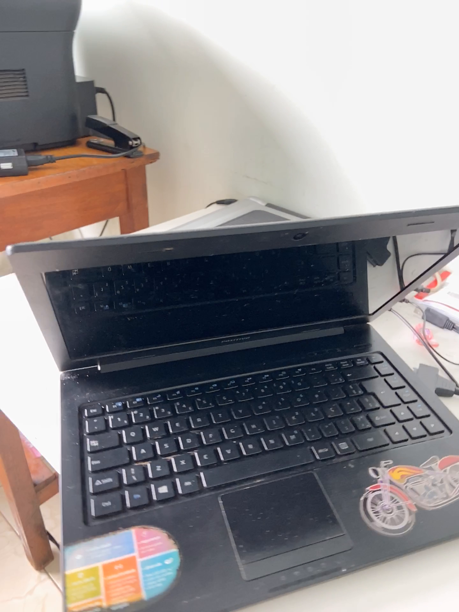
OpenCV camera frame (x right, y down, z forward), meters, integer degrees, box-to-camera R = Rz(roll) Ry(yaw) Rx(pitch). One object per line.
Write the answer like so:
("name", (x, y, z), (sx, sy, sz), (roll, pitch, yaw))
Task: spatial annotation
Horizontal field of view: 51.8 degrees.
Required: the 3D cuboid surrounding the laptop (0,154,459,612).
("laptop", (0.041, 0.026, 0.345), (0.330, 0.189, 0.234), (-8, 35, -16))
